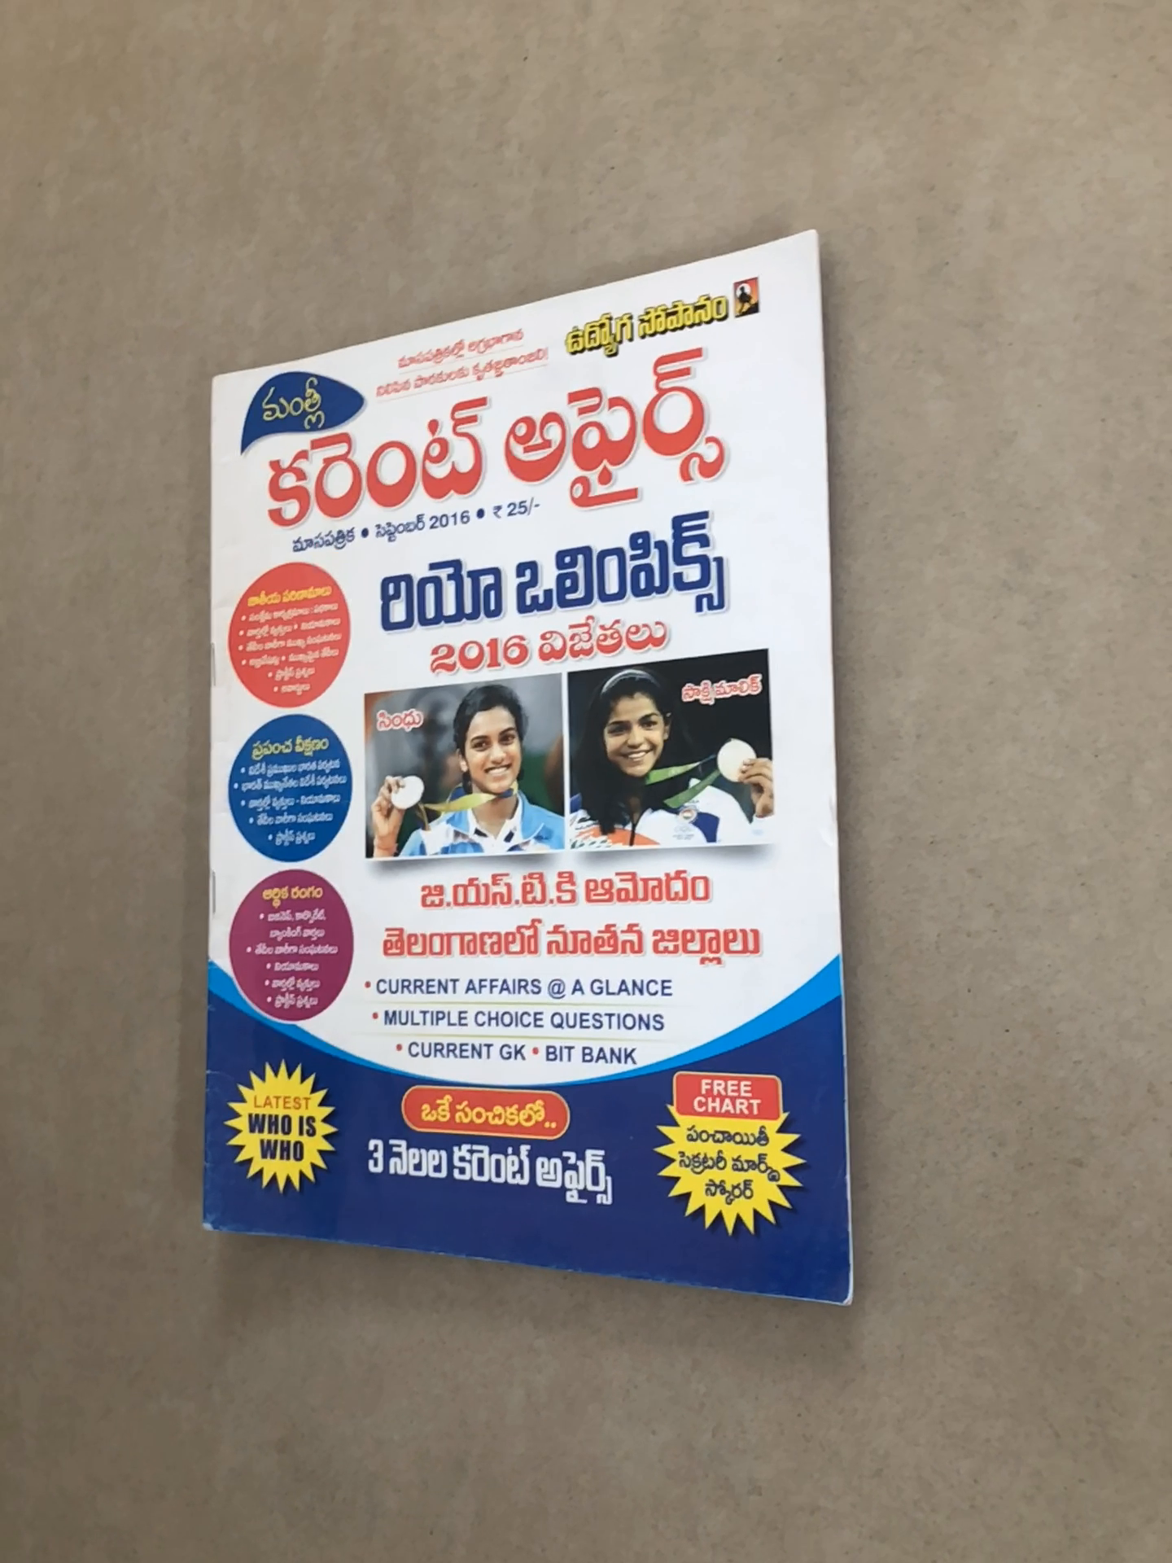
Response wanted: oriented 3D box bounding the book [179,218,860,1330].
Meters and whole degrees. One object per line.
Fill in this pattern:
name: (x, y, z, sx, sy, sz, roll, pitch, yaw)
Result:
book: (-0.030, -0.002, 0.351, 0.200, 0.010, 0.260, -3, 85, 27)
